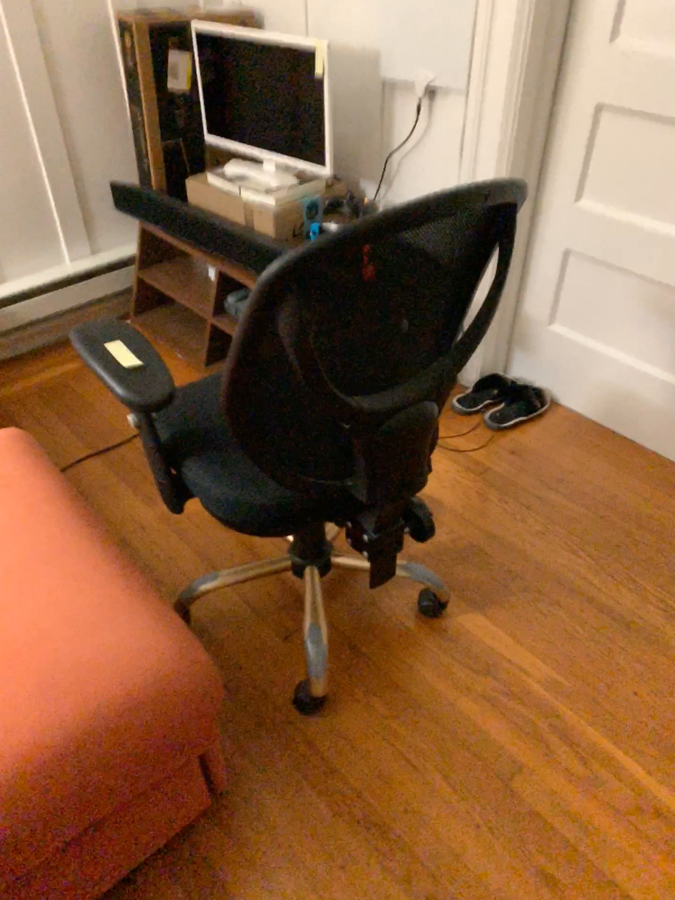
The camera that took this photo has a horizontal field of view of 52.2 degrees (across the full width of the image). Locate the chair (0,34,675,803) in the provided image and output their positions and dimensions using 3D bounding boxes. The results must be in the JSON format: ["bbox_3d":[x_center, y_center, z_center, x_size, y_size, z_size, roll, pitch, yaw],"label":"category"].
[{"bbox_3d":[-0.056,-0.050,1.182,0.640,0.974,0.664,-20,48,-23],"label":"chair"}]
